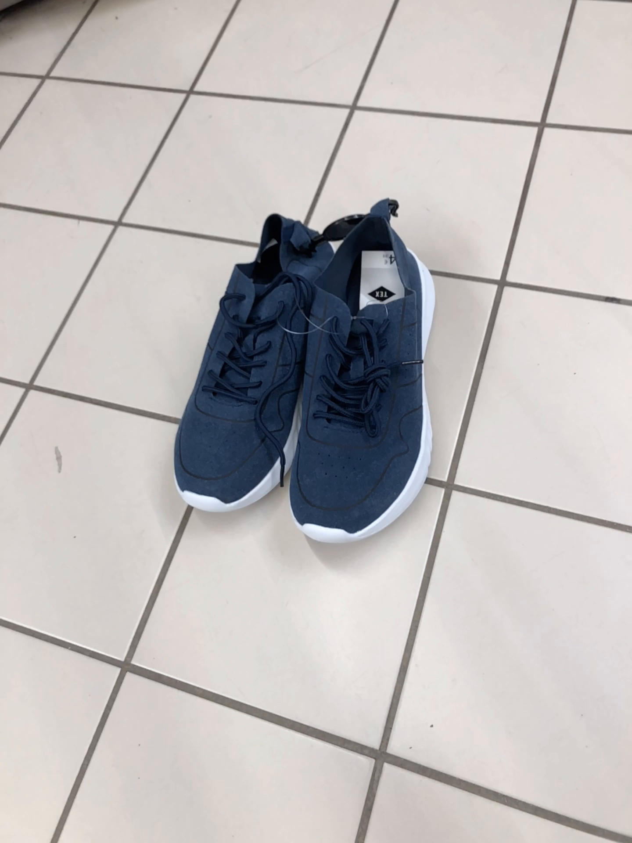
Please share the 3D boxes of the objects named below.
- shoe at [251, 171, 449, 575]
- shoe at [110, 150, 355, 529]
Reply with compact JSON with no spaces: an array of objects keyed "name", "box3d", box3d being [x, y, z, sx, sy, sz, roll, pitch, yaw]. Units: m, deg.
[{"name":"shoe","box3d":[0.041,-0.044,0.548,0.100,0.120,0.291,5,64,13]},{"name":"shoe","box3d":[-0.052,-0.075,0.576,0.100,0.110,0.291,8,65,14]}]
